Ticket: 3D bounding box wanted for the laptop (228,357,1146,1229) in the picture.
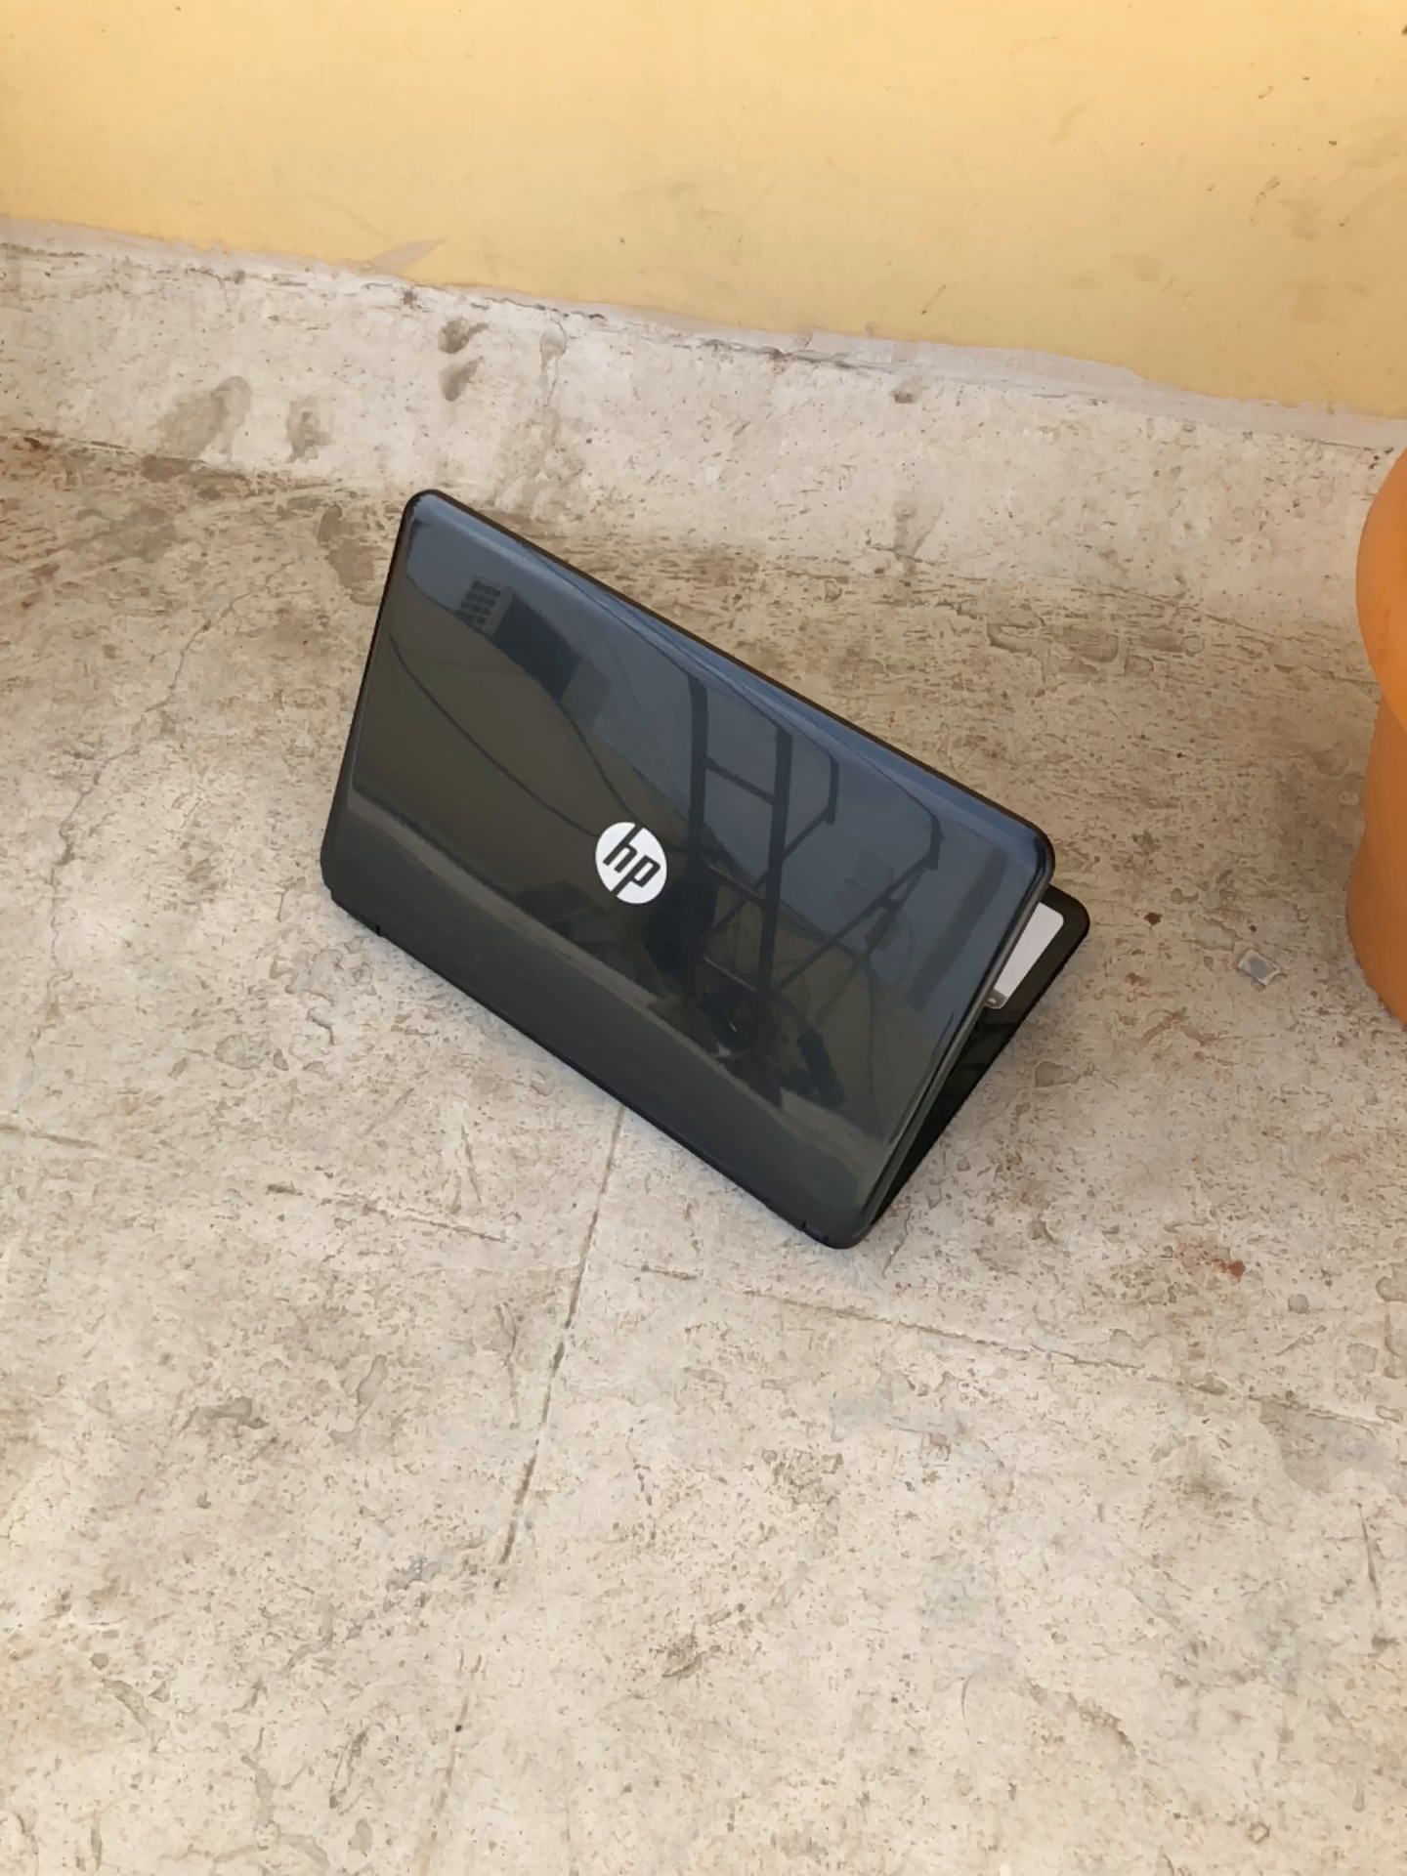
[{"bbox_3d":[-0.012,-0.075,0.774,0.345,0.189,0.222,33,67,19],"label":"laptop"}]
